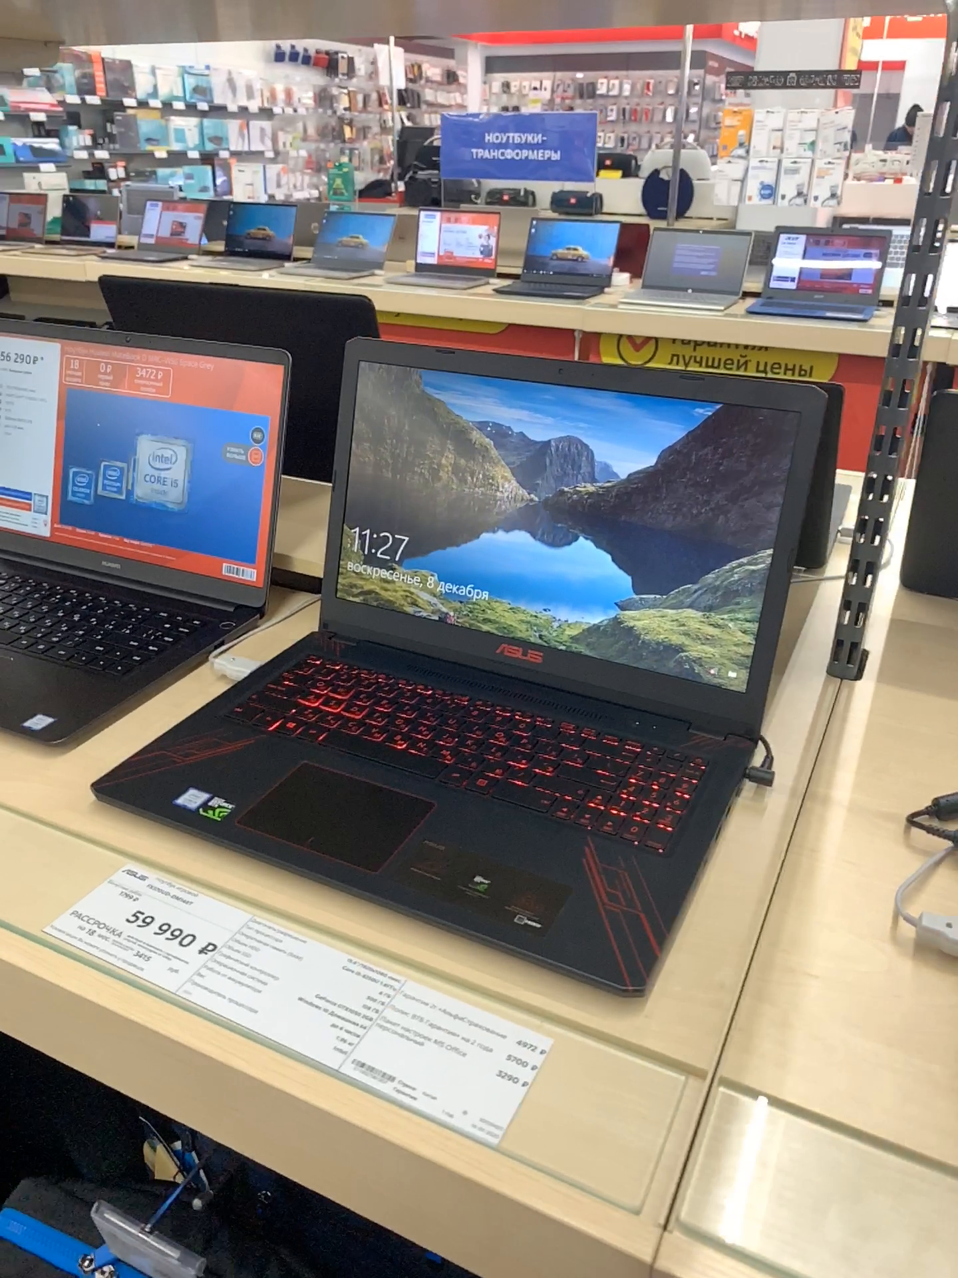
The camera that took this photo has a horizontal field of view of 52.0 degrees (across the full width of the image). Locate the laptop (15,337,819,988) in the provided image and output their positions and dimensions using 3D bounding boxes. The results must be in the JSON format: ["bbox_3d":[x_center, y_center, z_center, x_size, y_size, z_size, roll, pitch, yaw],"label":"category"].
[{"bbox_3d":[-0.016,-0.035,0.630,0.366,0.229,0.318,13,29,23],"label":"laptop"}]
